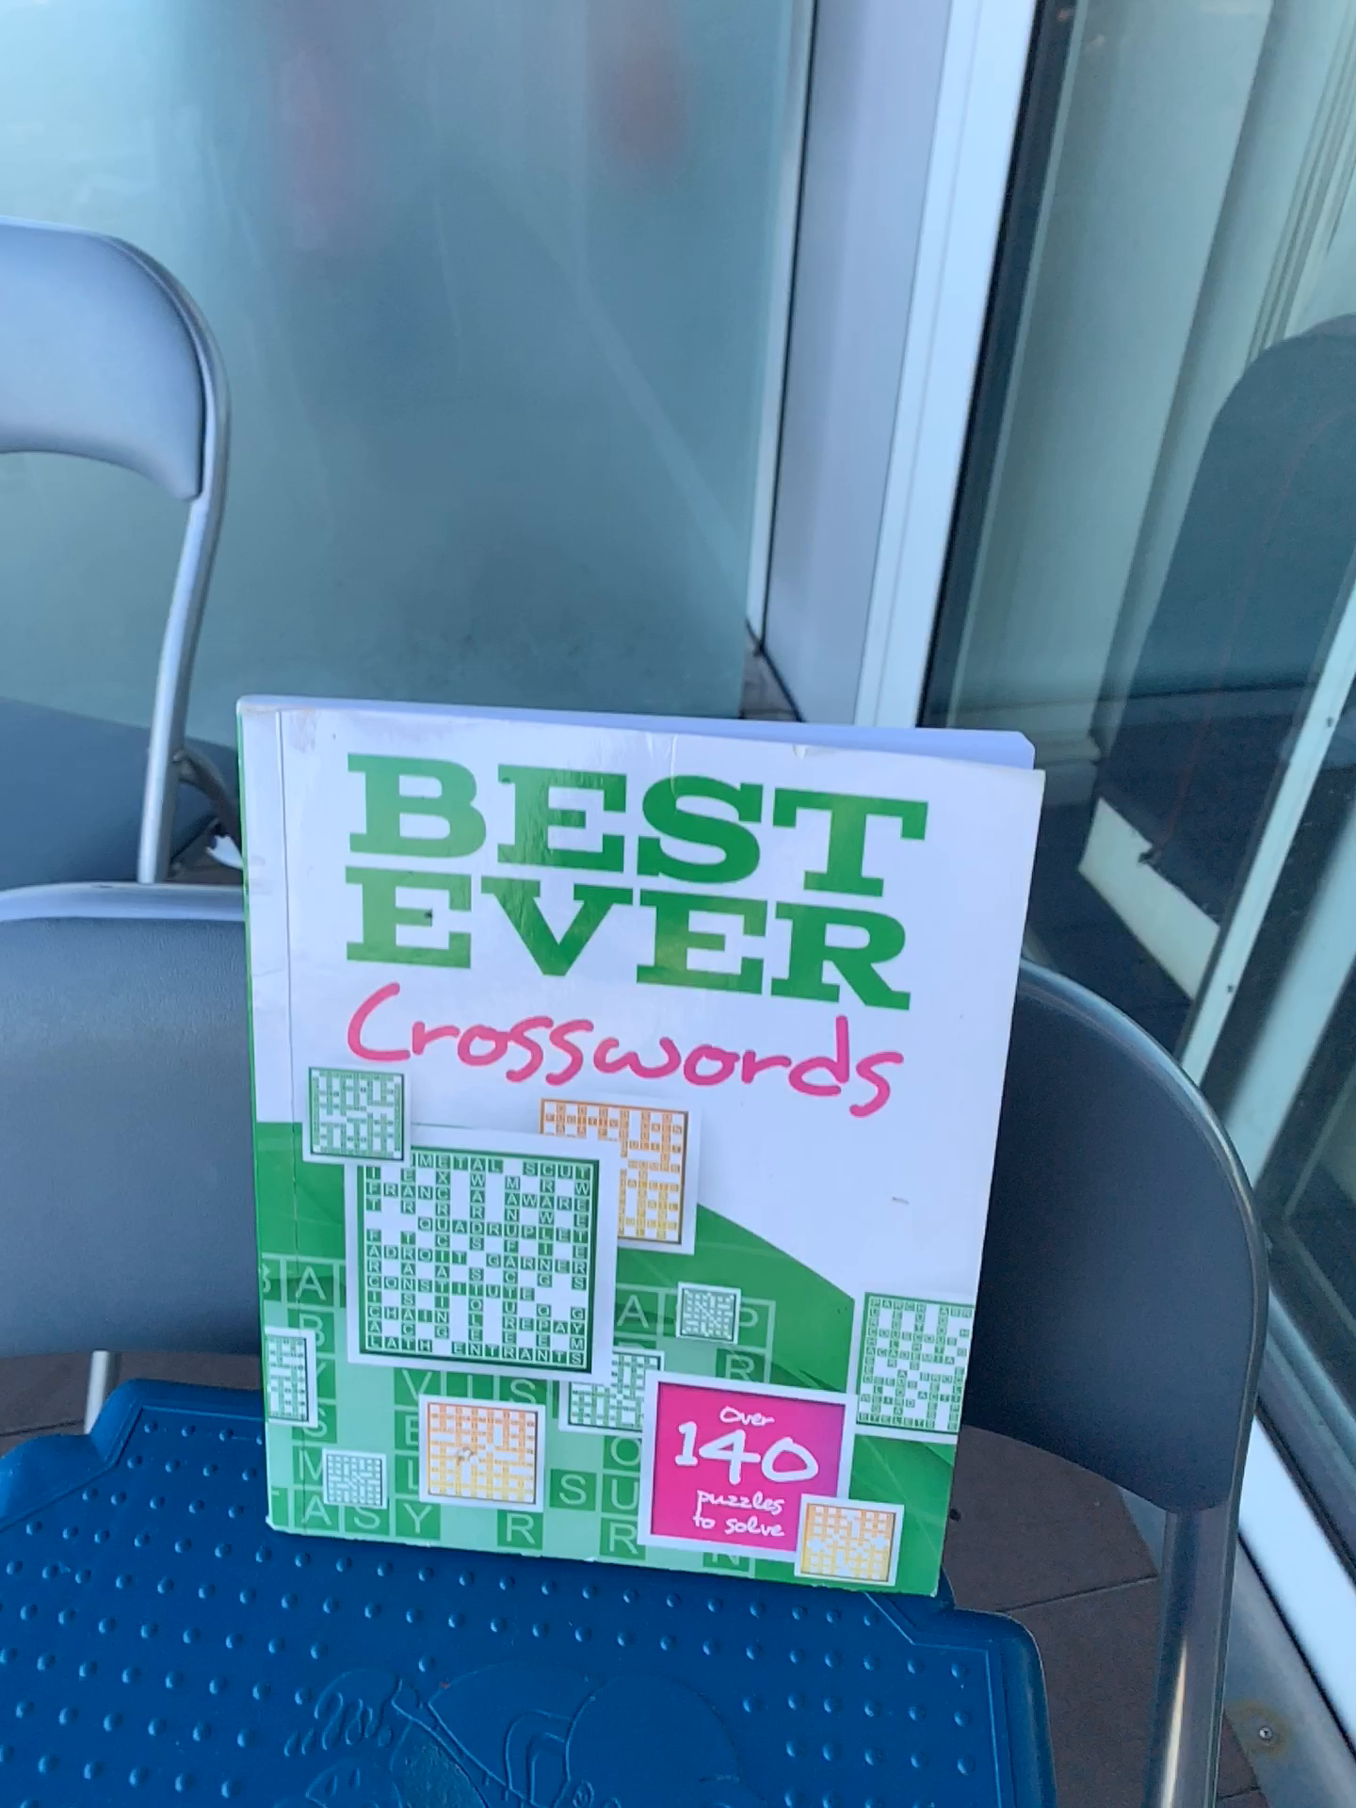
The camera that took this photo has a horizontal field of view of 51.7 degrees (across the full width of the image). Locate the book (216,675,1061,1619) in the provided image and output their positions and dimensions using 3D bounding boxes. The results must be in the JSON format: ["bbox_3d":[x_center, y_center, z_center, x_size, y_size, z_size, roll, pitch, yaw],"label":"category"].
[{"bbox_3d":[-0.013,0.056,0.301,0.157,0.196,0.030,4,17,2],"label":"book"}]
